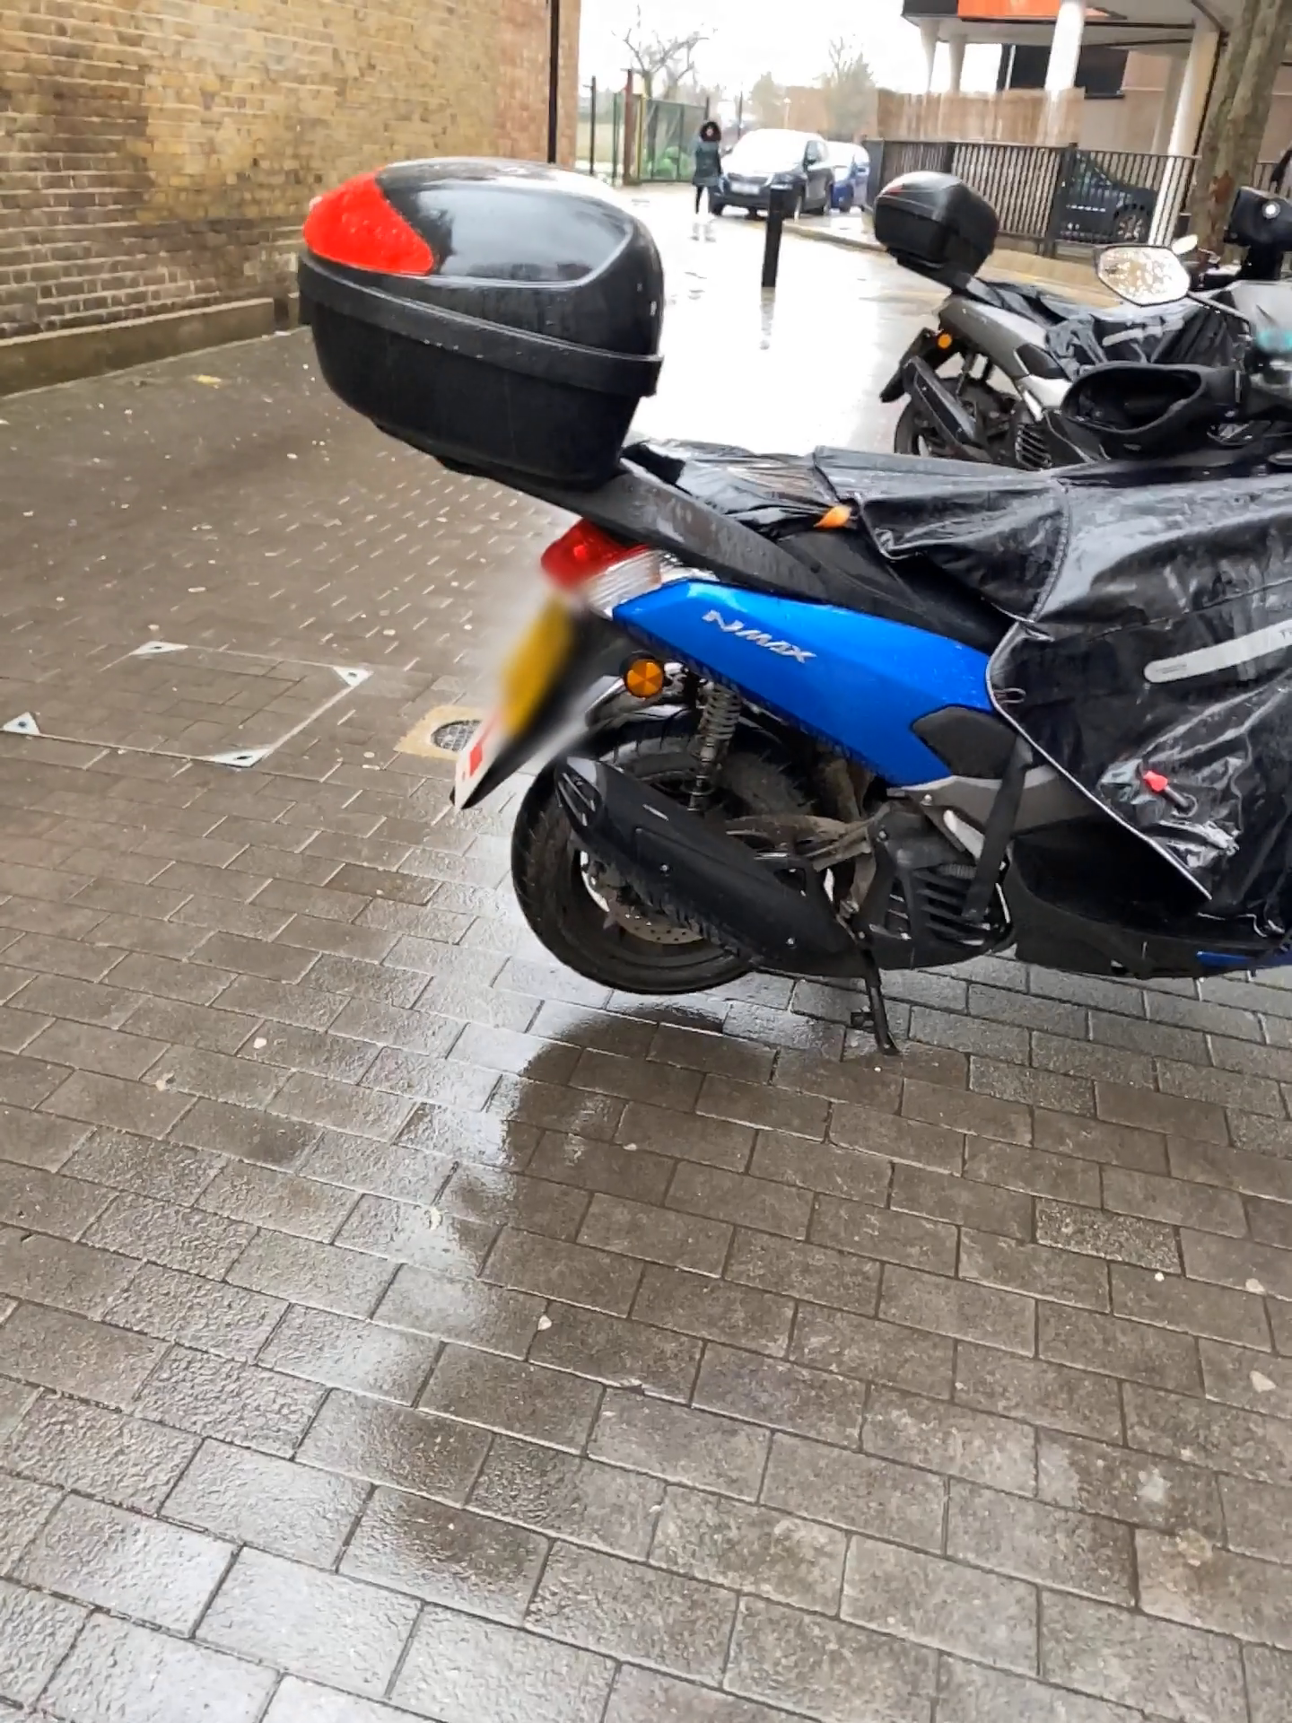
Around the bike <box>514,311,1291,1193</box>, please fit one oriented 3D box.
[{"bbox_3d":[0.679,-0.190,1.943,1.731,0.998,0.681,-1,28,-10],"label":"bike"}]
